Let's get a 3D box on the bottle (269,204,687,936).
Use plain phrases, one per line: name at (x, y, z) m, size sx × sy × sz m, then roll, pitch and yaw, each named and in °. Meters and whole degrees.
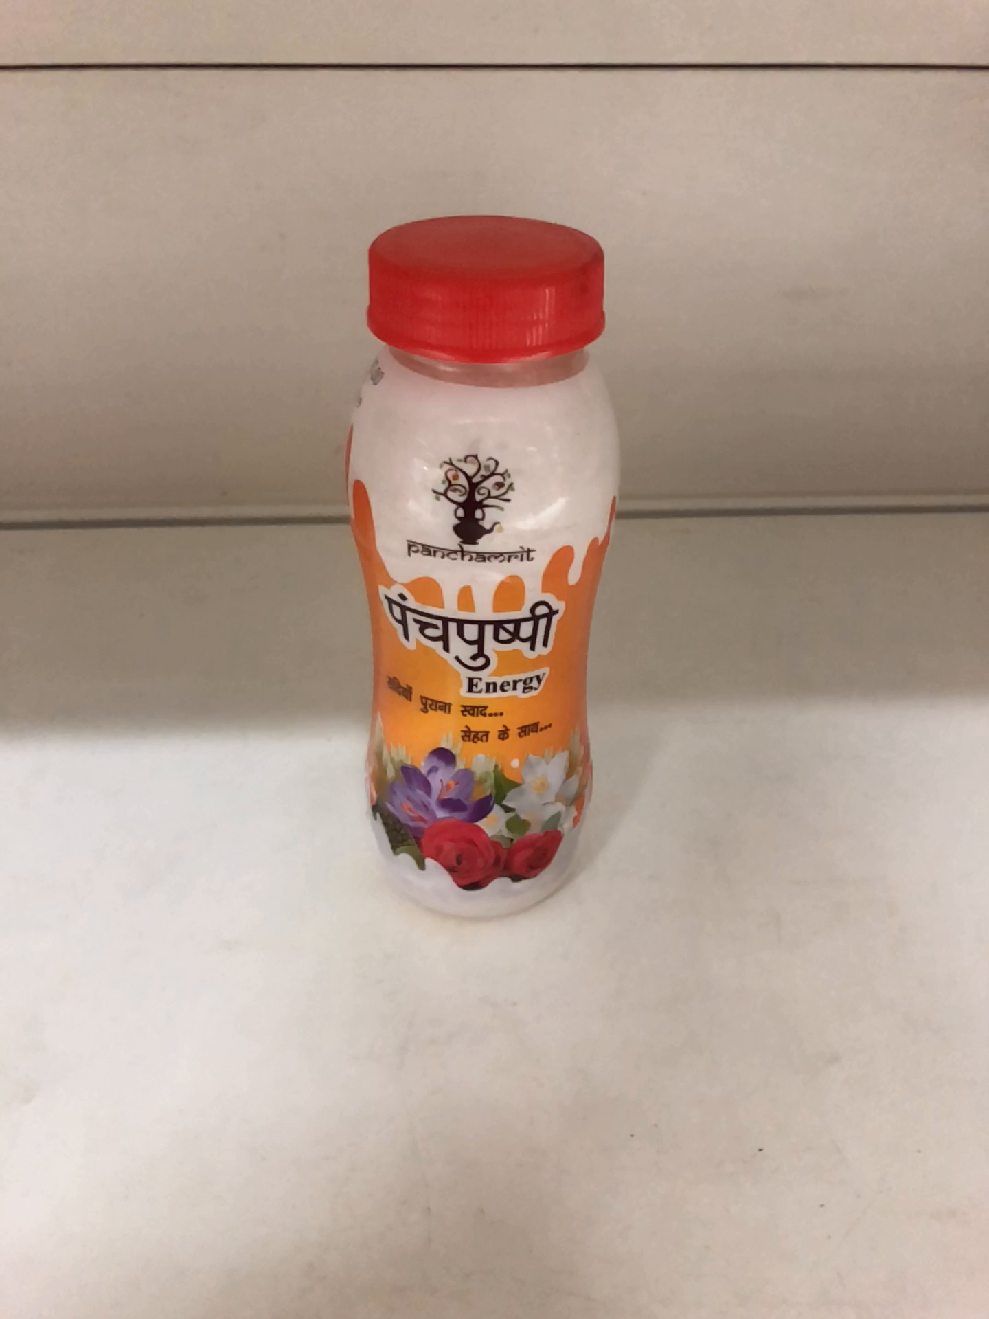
bottle at (-0.003, -0.015, 0.219) m, size 0.060 × 0.129 × 0.060 m, roll 0°, pitch 32°, yaw 0°
